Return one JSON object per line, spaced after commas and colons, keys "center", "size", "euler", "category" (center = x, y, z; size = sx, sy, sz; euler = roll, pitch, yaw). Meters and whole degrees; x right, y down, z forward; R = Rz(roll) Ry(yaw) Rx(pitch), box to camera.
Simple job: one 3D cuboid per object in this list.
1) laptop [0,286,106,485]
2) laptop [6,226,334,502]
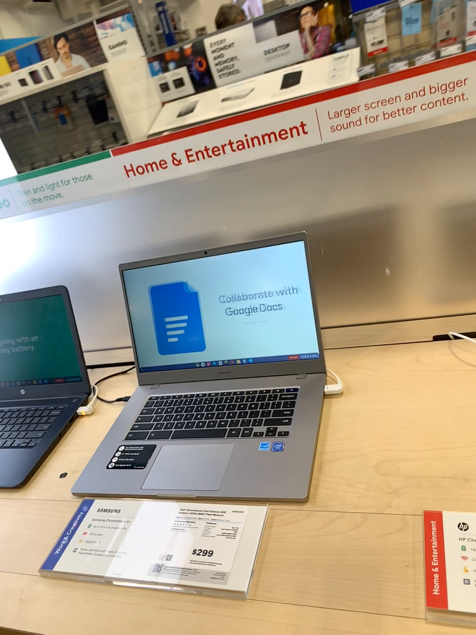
{"center": [-0.475, 0.115, 0.888], "size": [0.321, 0.193, 0.294], "euler": [-7, 29, 20], "category": "laptop"}
{"center": [-0.063, 0.056, 0.733], "size": [0.352, 0.205, 0.338], "euler": [-7, 30, 21], "category": "laptop"}
